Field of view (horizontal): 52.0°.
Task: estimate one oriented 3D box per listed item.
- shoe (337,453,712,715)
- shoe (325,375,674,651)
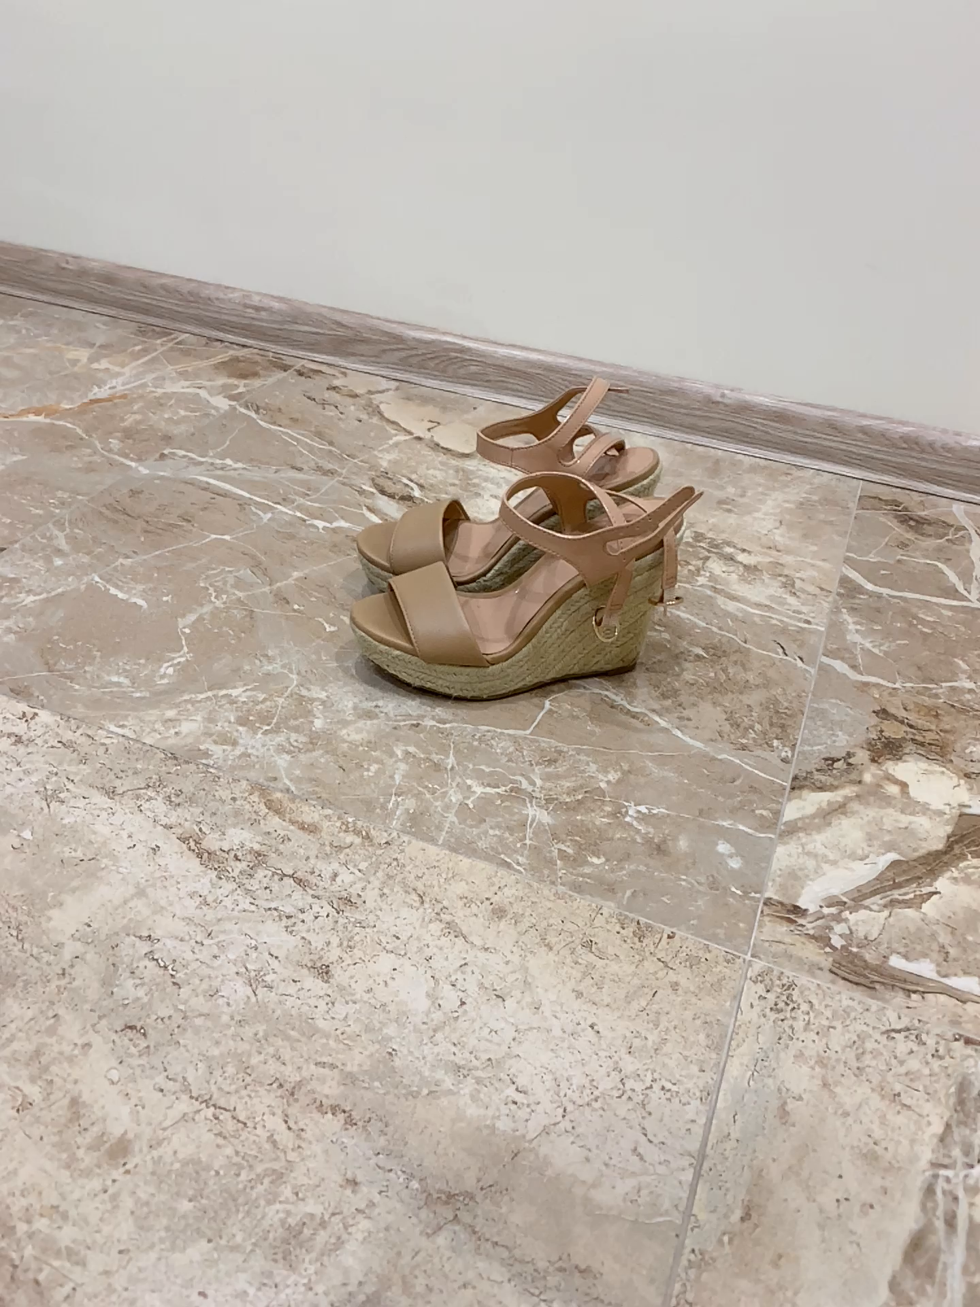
[{"bbox_3d":[0.013,-0.046,0.633,0.210,0.129,0.091,-2,37,-8],"label":"shoe"},{"bbox_3d":[0.003,-0.094,0.685,0.210,0.149,0.091,3,37,-1],"label":"shoe"}]
